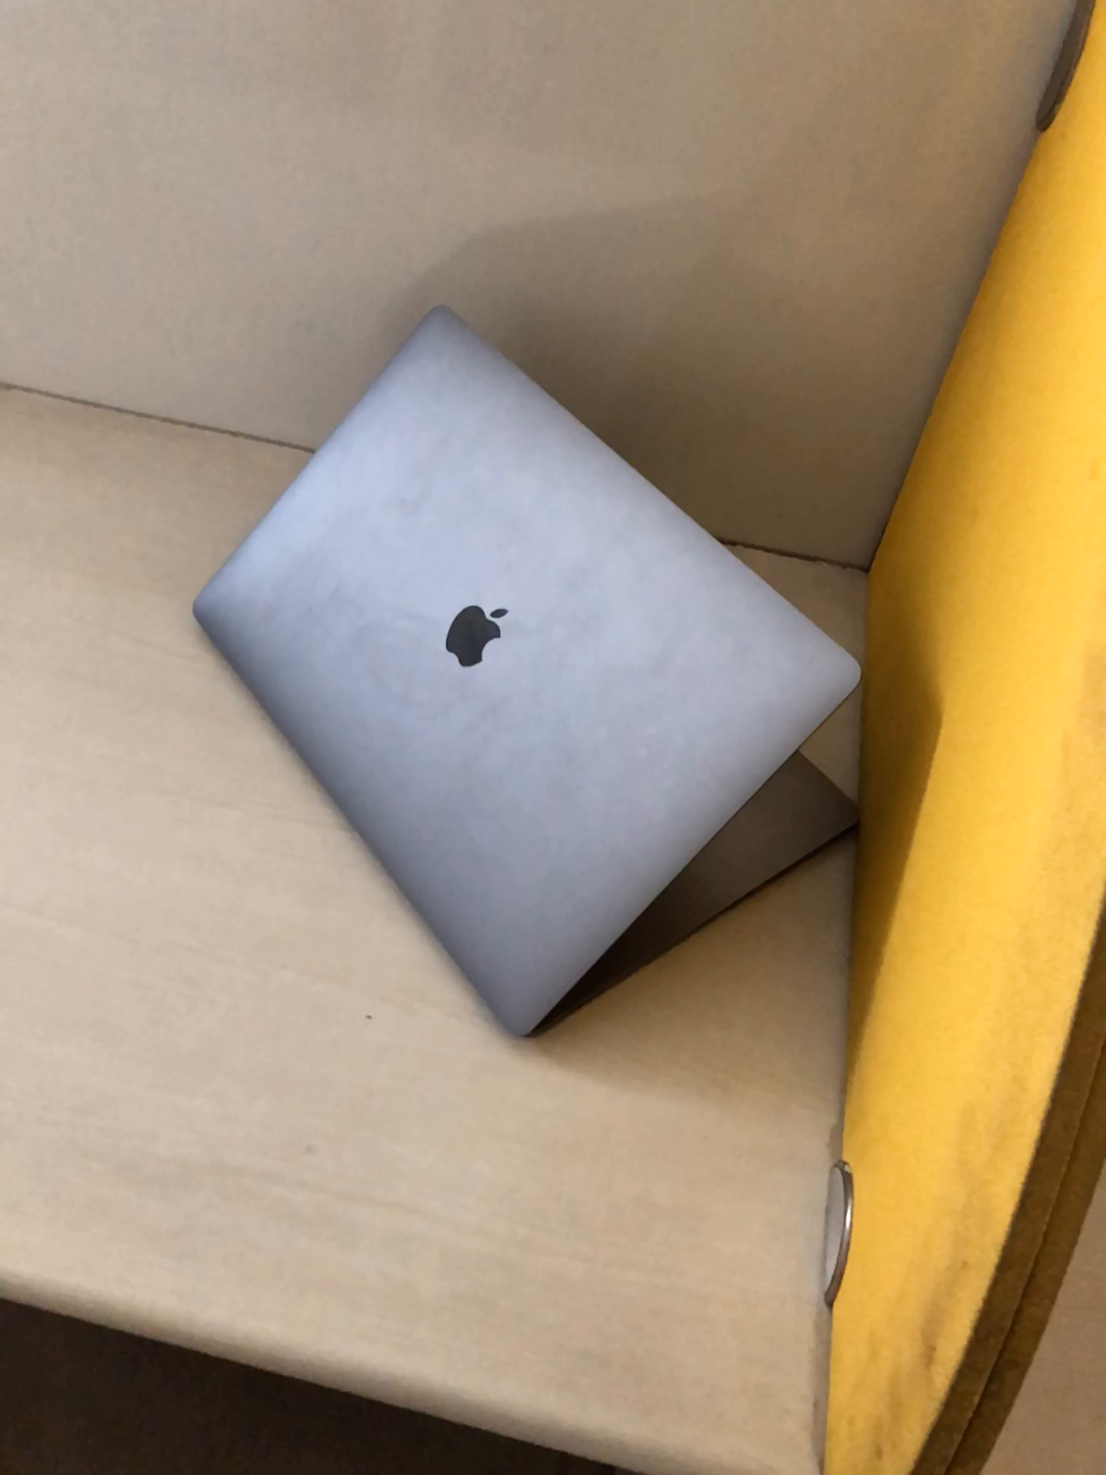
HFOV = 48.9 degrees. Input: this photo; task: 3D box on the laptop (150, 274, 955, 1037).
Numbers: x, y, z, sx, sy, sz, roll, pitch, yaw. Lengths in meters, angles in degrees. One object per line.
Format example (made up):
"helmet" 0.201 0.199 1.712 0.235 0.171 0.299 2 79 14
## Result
"laptop" -0.017 -0.067 0.657 0.236 0.152 0.346 -28 59 -26
